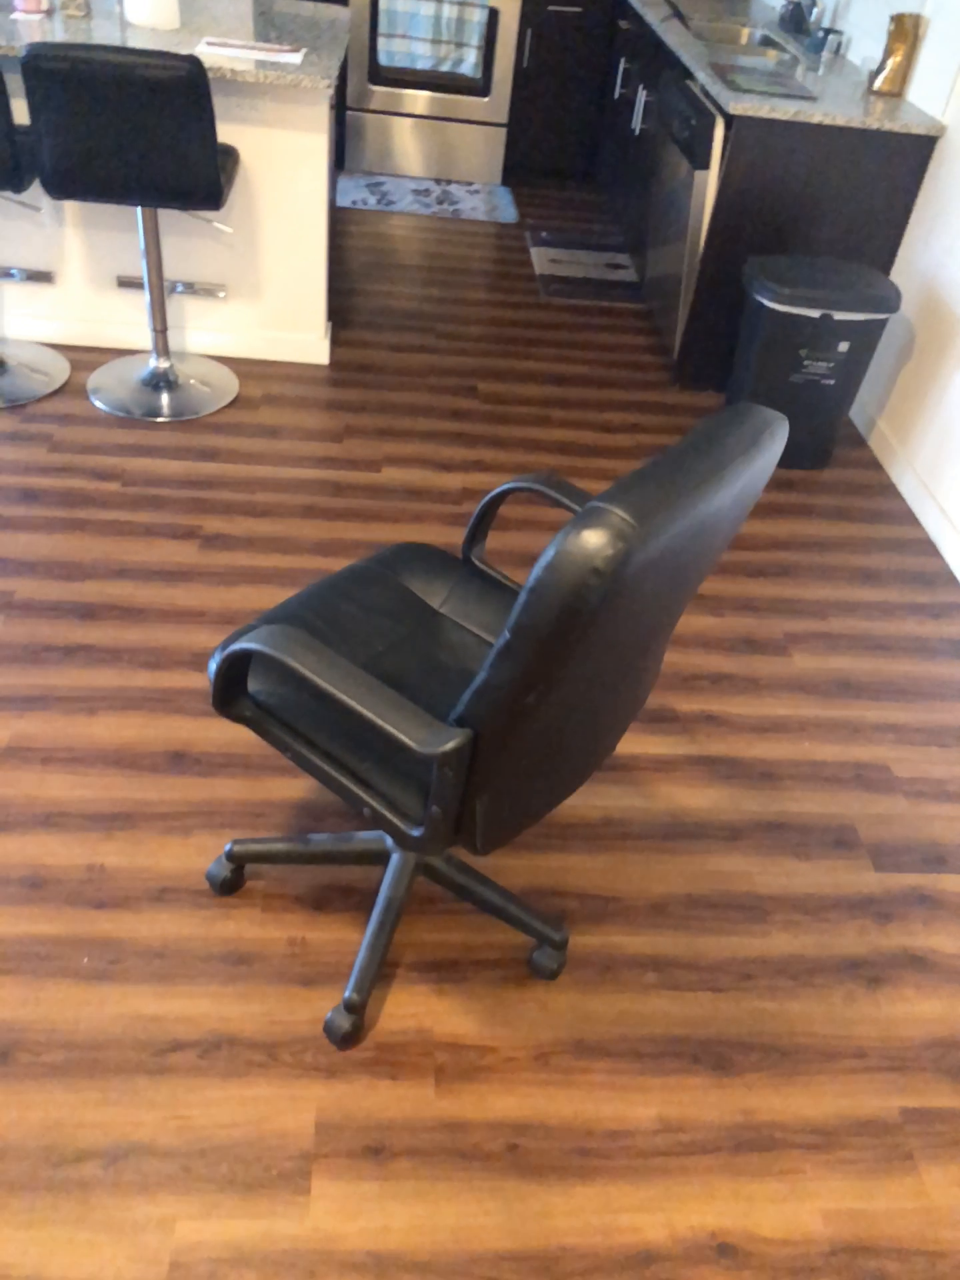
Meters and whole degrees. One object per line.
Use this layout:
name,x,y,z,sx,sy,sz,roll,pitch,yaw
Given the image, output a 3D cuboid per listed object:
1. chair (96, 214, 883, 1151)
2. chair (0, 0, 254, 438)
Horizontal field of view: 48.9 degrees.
chair,-0.022,0.042,1.562,0.668,1.012,0.665,32,44,27
chair,-0.892,-1.107,2.792,0.472,0.952,0.560,1,39,-6
